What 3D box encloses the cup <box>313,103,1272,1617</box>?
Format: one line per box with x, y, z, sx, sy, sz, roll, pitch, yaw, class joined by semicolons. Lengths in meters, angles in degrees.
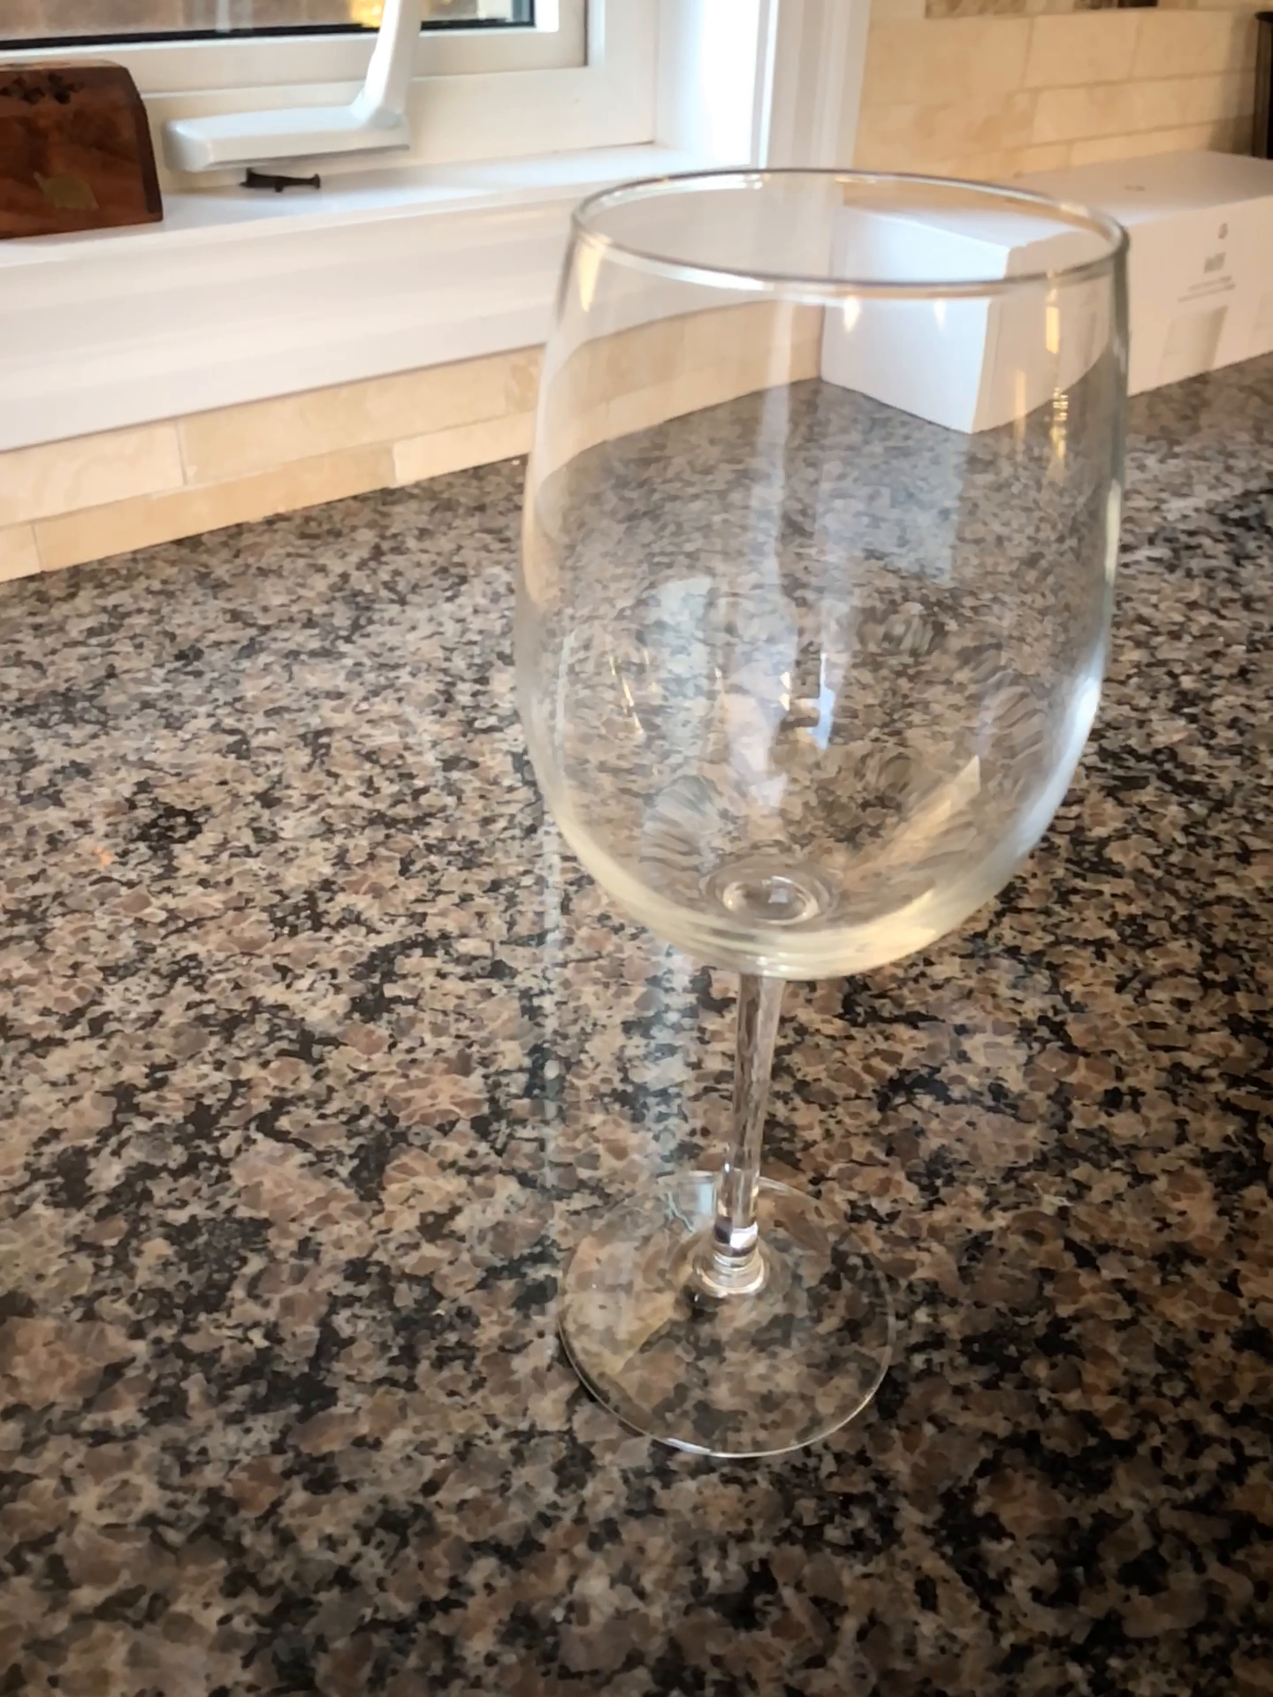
0.023;0.004;0.239;0.095;0.217;0.097;1;34;-1;cup
